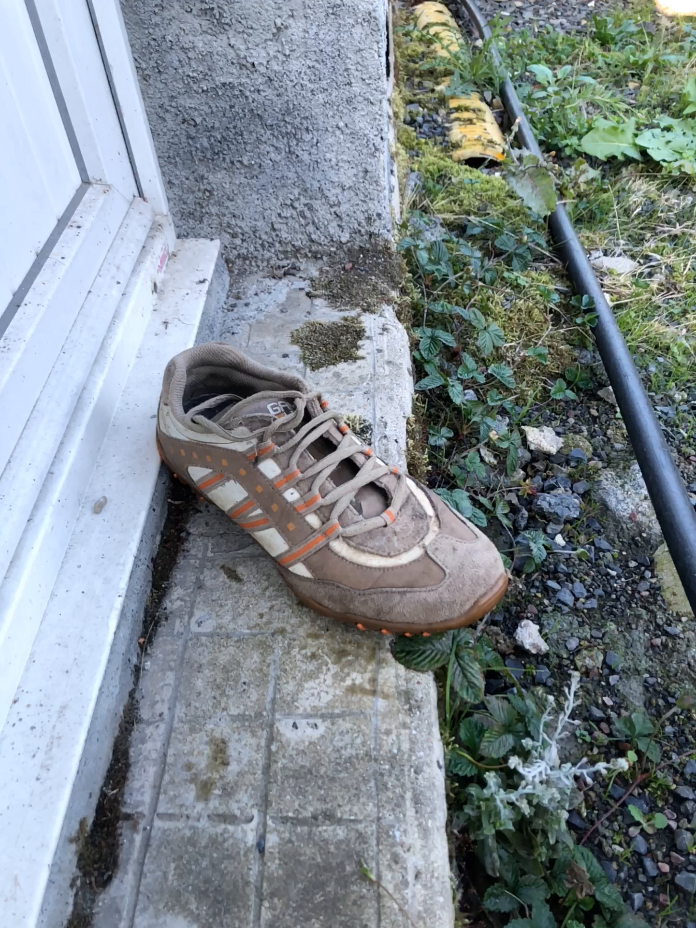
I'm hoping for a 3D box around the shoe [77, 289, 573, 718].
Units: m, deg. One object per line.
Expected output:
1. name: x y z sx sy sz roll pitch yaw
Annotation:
1. shoe: -0.022 0.006 0.455 0.270 0.099 0.111 30 54 30
